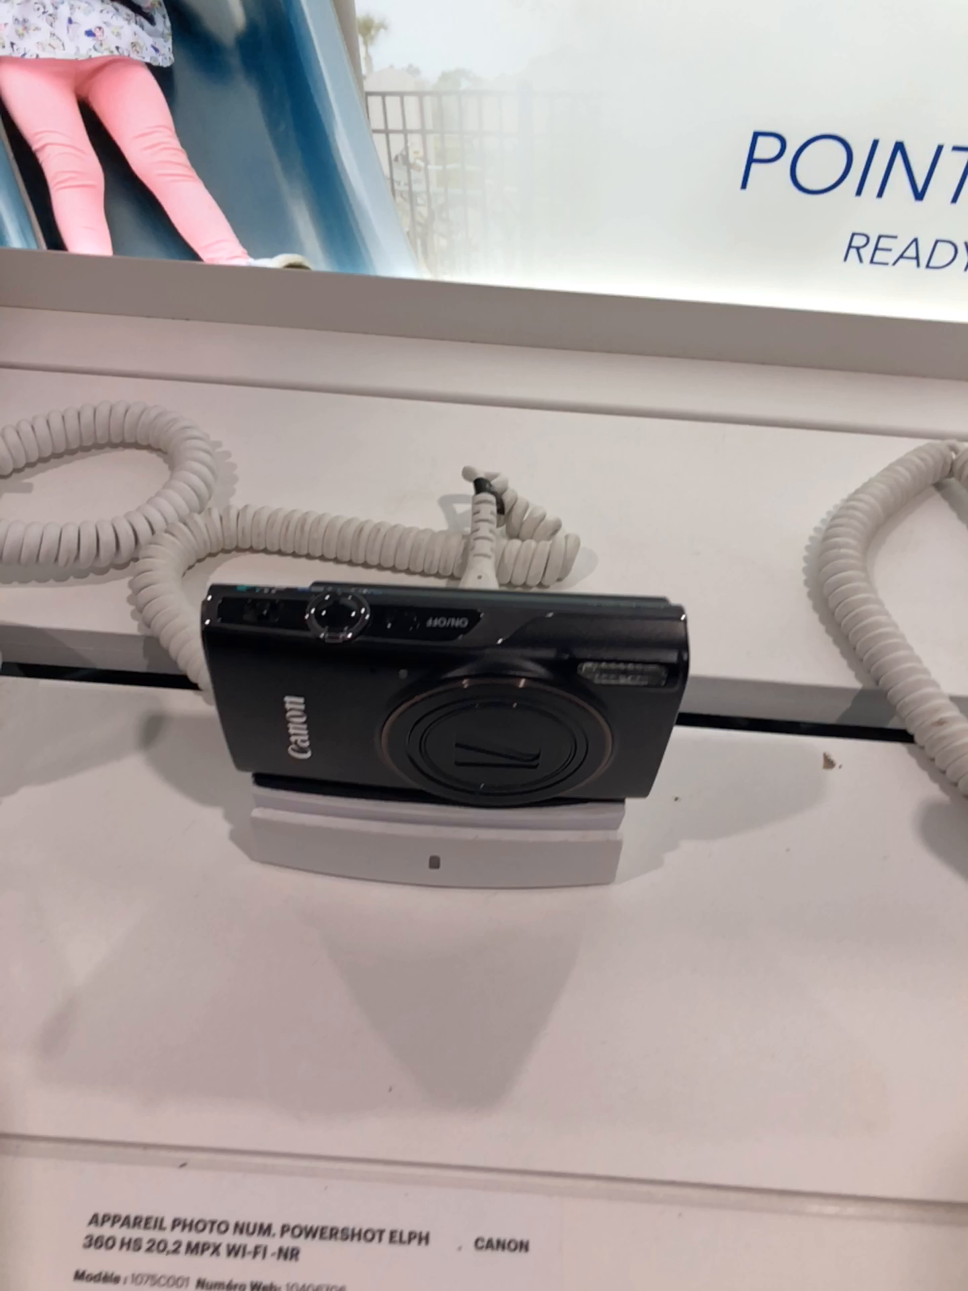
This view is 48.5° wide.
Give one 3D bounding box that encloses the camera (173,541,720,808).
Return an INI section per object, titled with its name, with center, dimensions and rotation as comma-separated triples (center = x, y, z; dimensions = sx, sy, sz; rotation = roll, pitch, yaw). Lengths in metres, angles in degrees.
[camera]
center = -0.008, 0.008, 0.251
dimensions = 0.113, 0.057, 0.026
rotation = 3, 47, -1
